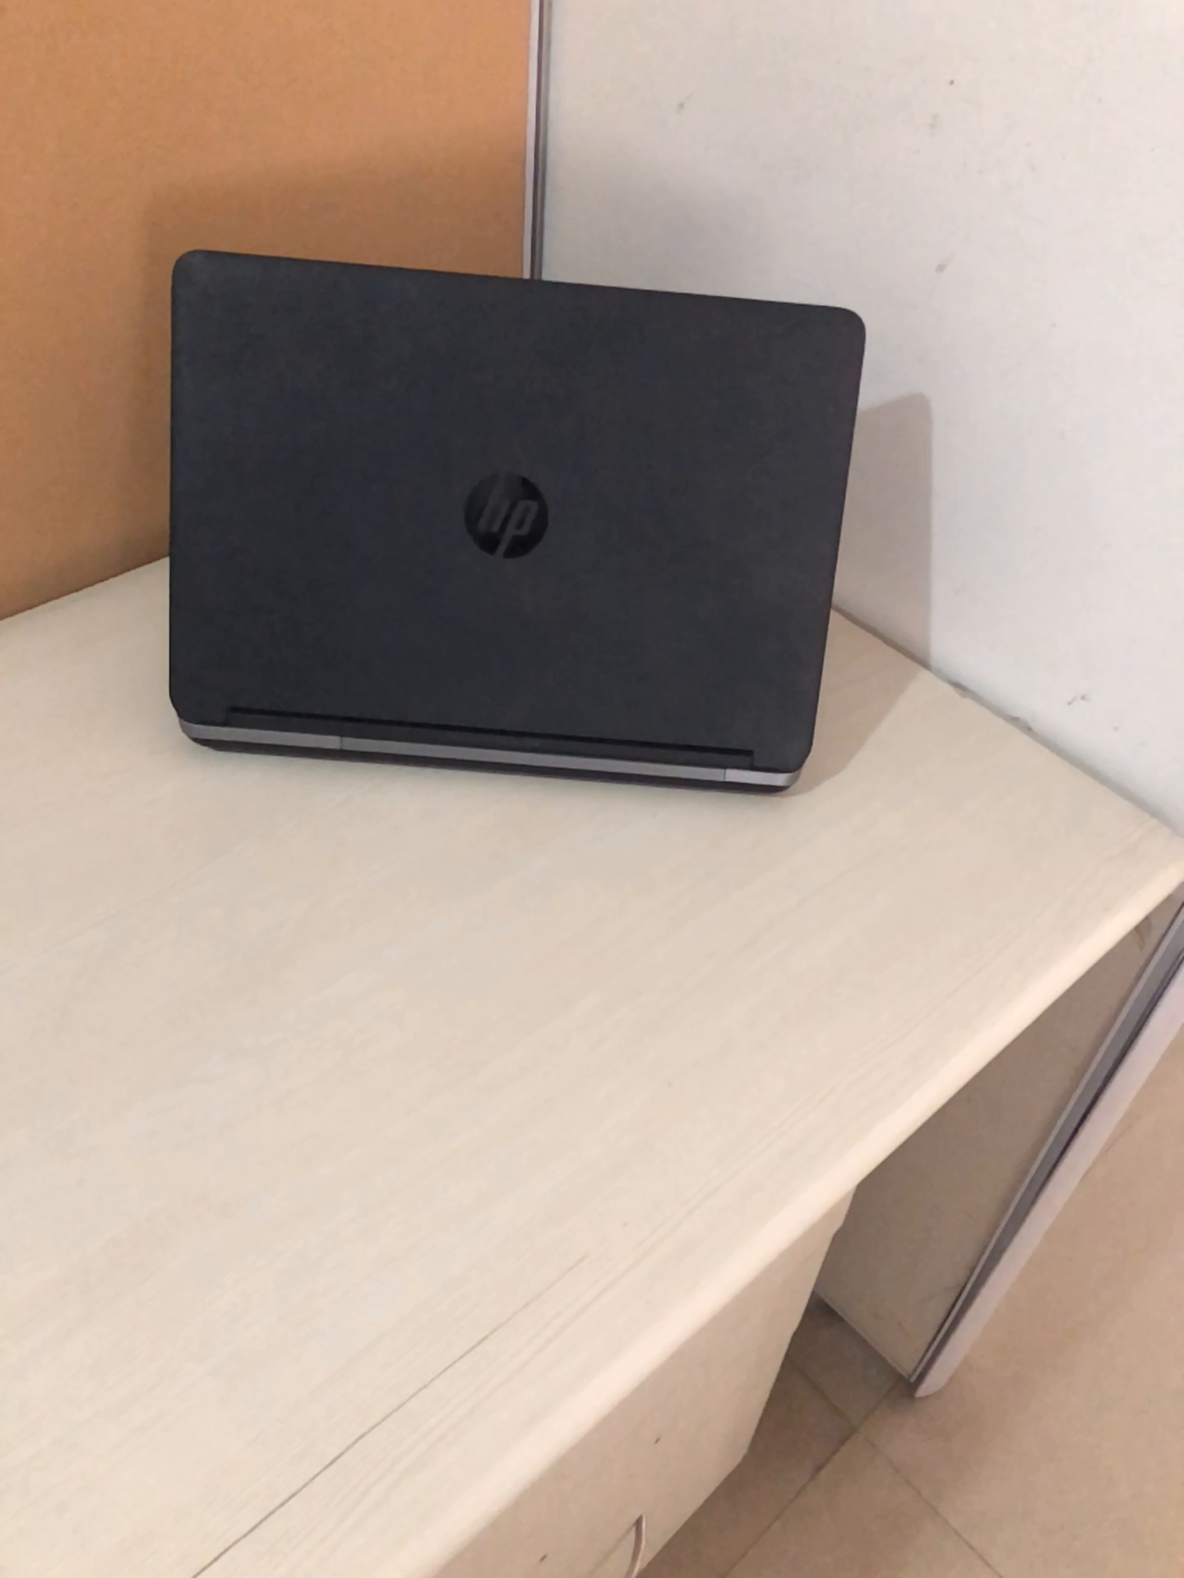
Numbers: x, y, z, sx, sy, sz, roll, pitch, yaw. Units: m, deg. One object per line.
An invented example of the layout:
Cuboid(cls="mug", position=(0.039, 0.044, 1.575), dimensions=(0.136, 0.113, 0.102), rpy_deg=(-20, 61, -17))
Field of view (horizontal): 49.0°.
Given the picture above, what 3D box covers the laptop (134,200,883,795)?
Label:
Cuboid(cls="laptop", position=(-0.039, -0.160, 0.699), dimensions=(0.318, 0.192, 0.229), rpy_deg=(5, 44, -2))
